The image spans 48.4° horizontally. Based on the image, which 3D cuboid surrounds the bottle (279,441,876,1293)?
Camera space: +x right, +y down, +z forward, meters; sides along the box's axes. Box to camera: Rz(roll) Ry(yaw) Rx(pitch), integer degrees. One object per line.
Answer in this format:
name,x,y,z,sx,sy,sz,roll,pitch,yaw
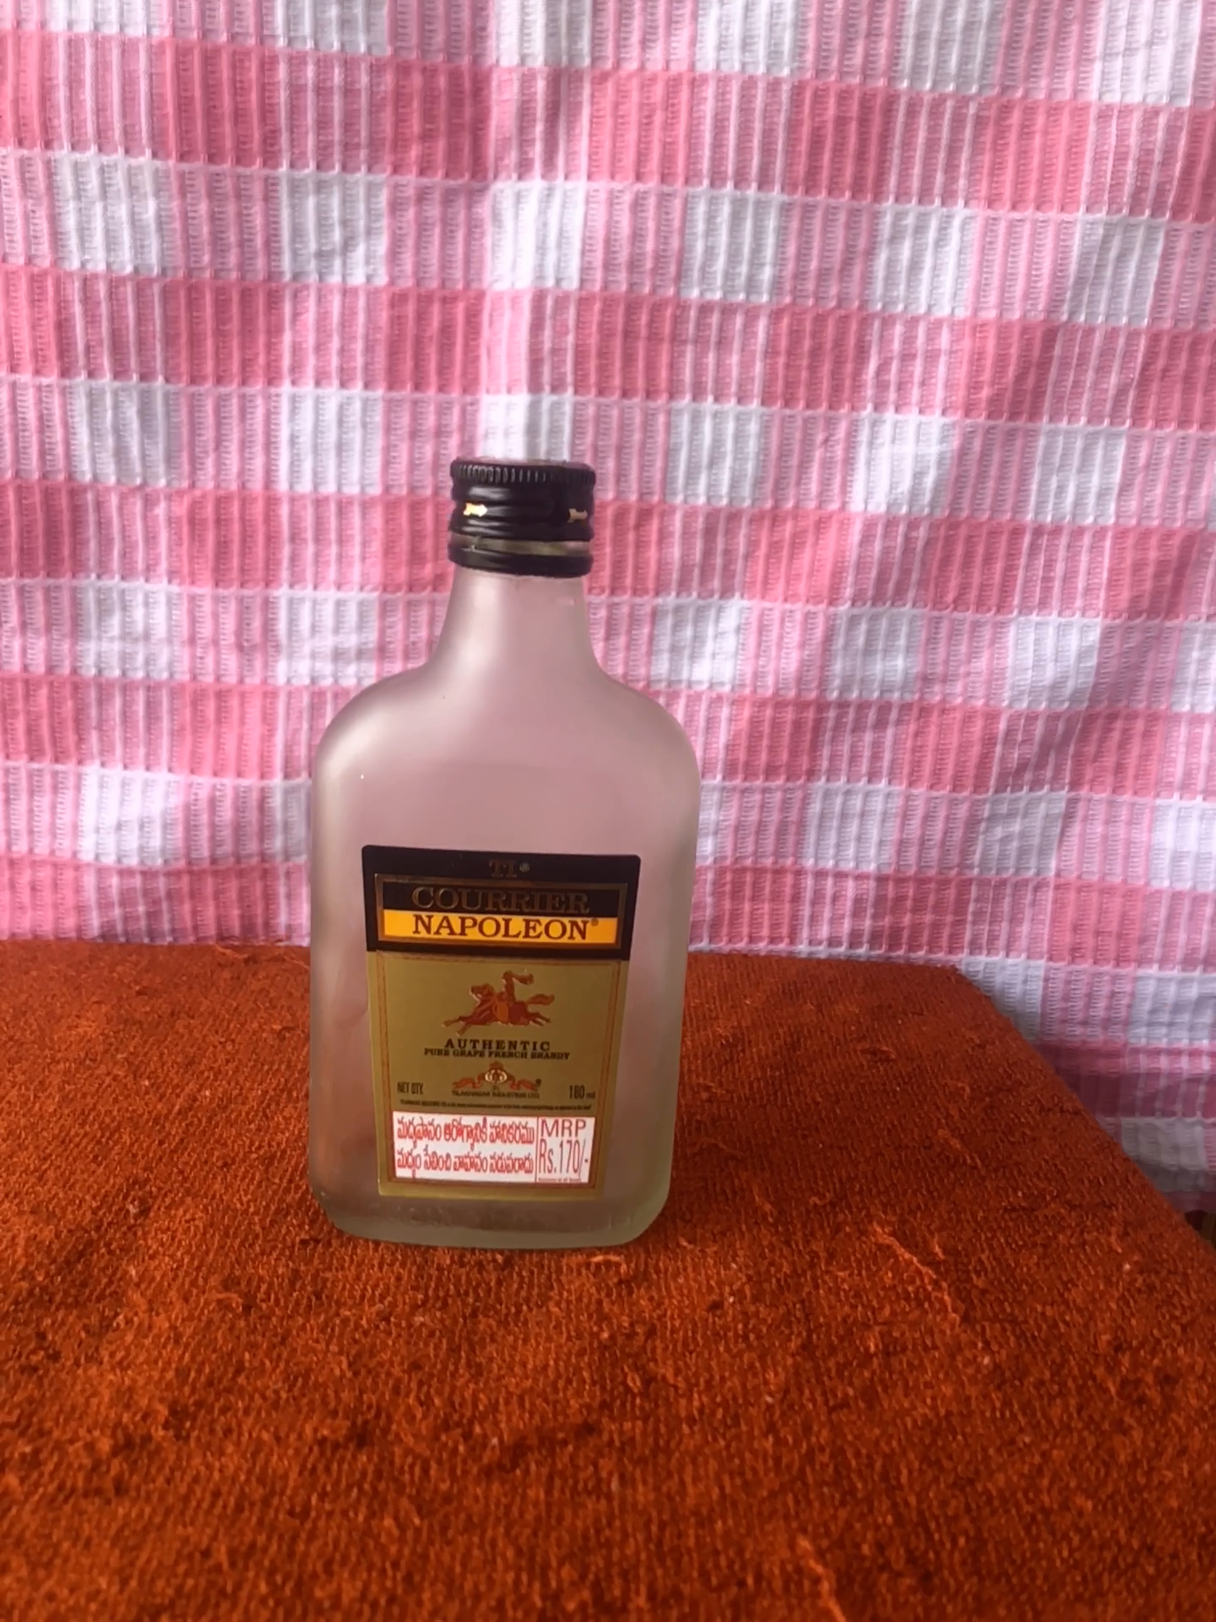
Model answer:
bottle,-0.010,0.009,0.229,0.080,0.129,0.050,4,18,-5
